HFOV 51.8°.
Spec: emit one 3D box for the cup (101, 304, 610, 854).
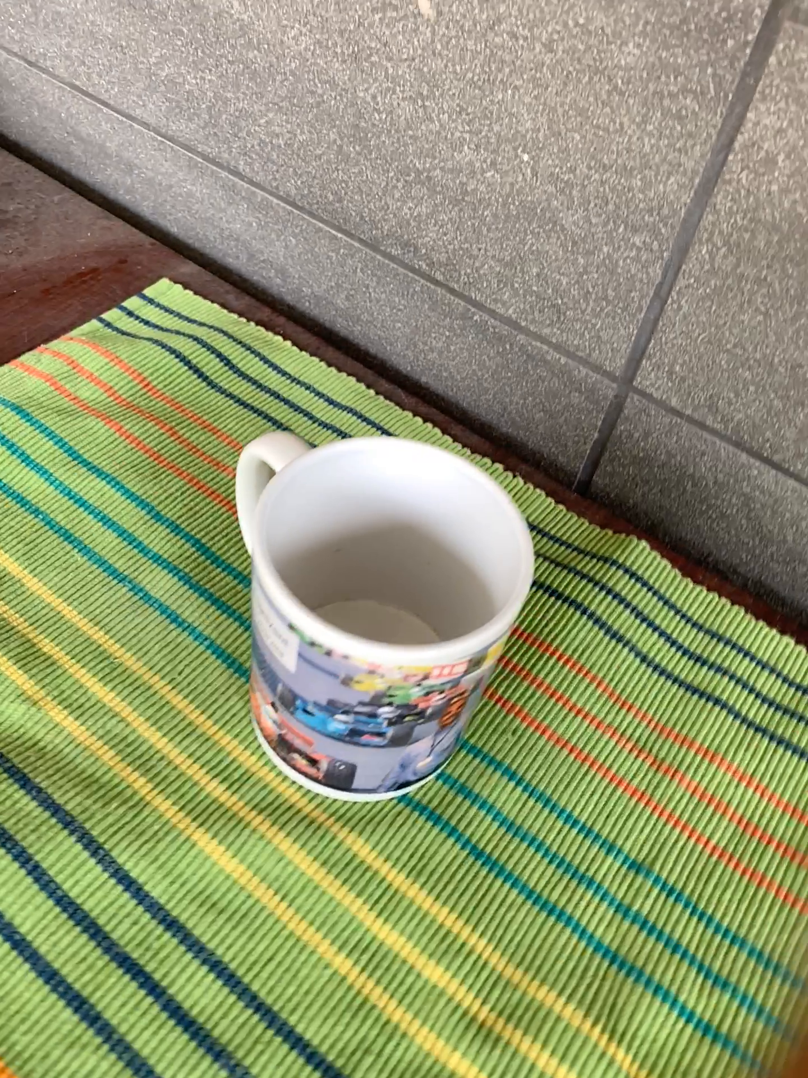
[{"bbox_3d":[-0.023,0.010,0.275,0.080,0.100,0.130,-32,63,-32],"label":"cup"}]
